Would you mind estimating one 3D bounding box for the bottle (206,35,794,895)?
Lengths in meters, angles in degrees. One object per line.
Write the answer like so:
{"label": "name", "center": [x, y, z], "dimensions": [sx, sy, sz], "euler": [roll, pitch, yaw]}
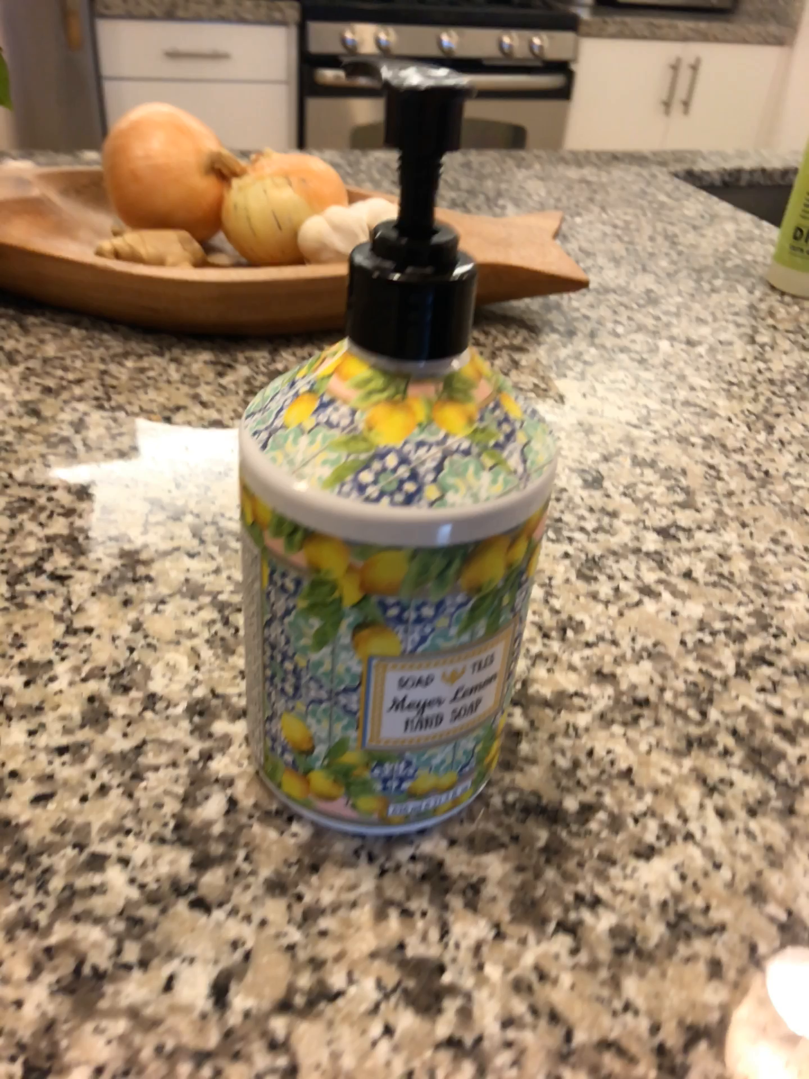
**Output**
{"label": "bottle", "center": [0.006, -0.014, 0.238], "dimensions": [0.090, 0.199, 0.090], "euler": [4, 36, -3]}
